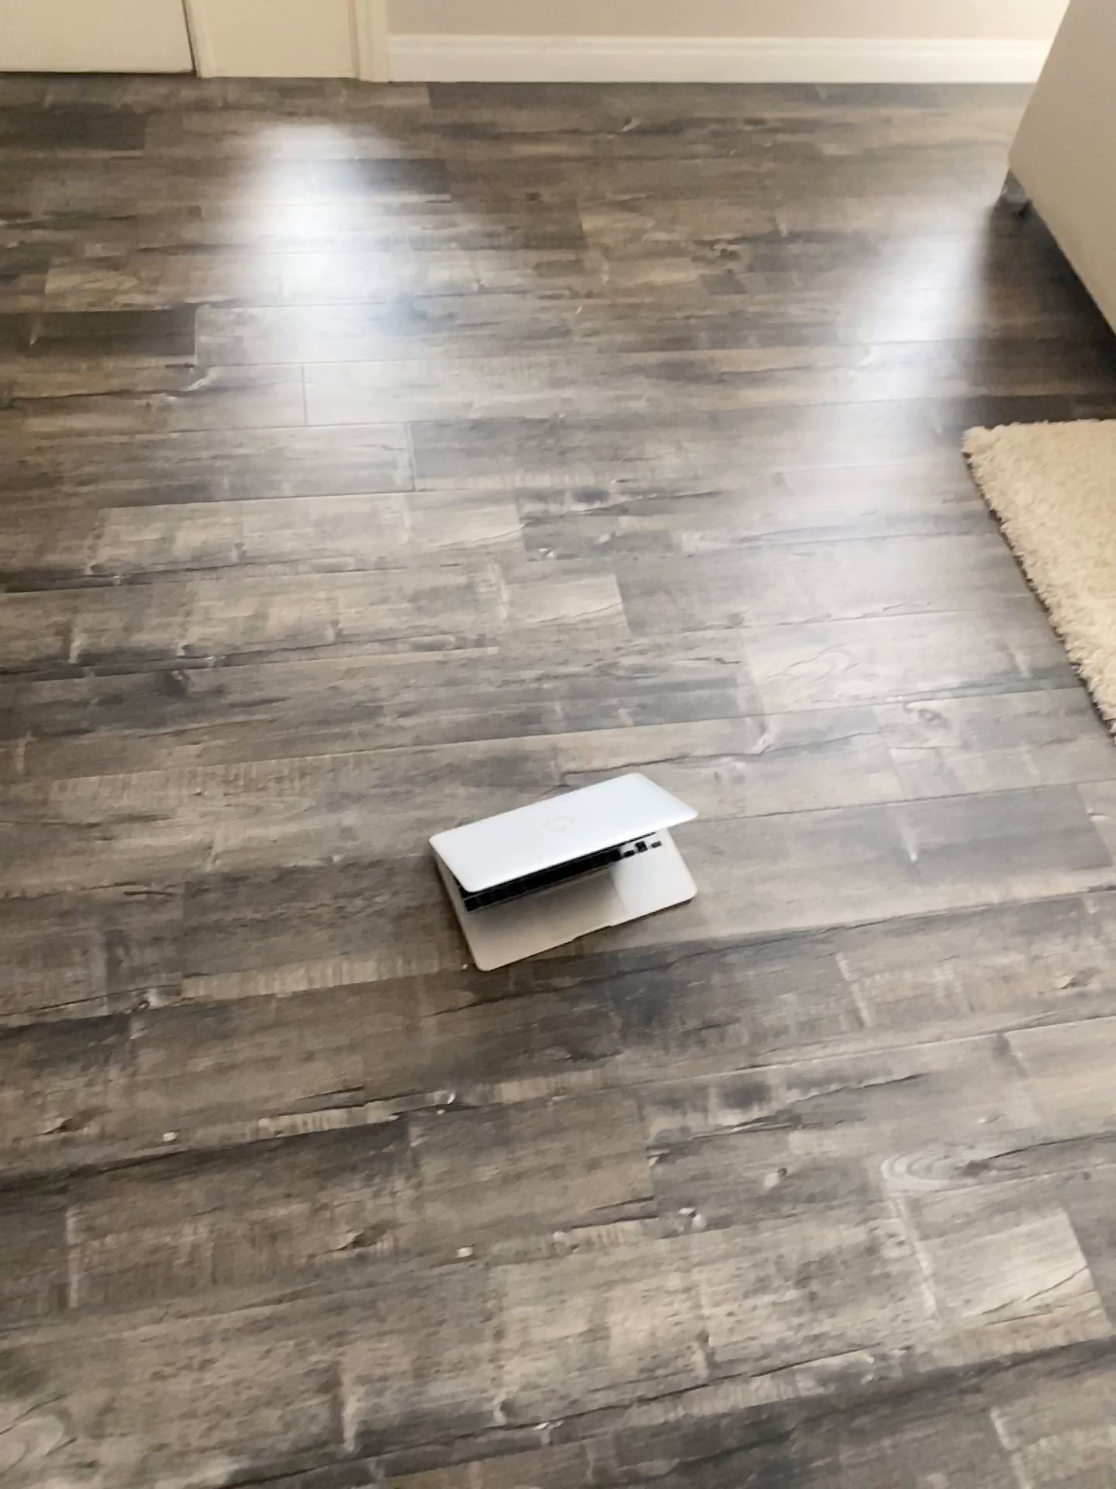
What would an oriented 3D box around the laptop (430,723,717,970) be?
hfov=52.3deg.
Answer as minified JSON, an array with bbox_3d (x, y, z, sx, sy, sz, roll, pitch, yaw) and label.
[{"bbox_3d":[0.012,0.110,1.275,0.270,0.113,0.173,-16,57,-18],"label":"laptop"}]
